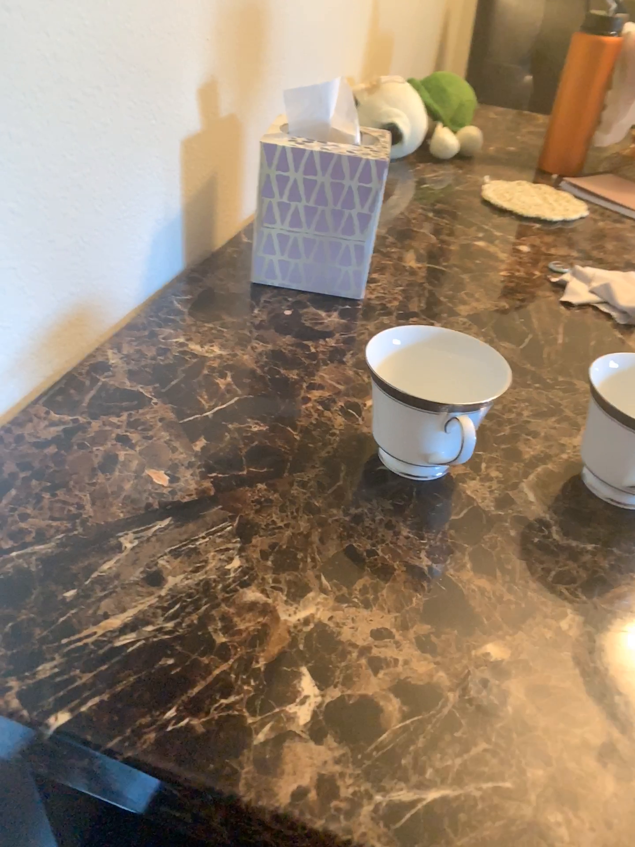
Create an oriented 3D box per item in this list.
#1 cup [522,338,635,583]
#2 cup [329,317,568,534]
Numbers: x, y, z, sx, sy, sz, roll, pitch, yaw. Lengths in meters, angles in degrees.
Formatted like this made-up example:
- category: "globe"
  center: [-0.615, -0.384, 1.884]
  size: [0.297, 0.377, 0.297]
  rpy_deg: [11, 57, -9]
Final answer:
- category: "cup"
  center: [0.195, 0.016, 0.402]
  size: [0.090, 0.070, 0.121]
  rpy_deg: [22, 39, 19]
- category: "cup"
  center: [0.070, -0.004, 0.393]
  size: [0.090, 0.070, 0.111]
  rpy_deg: [-6, 39, -17]
